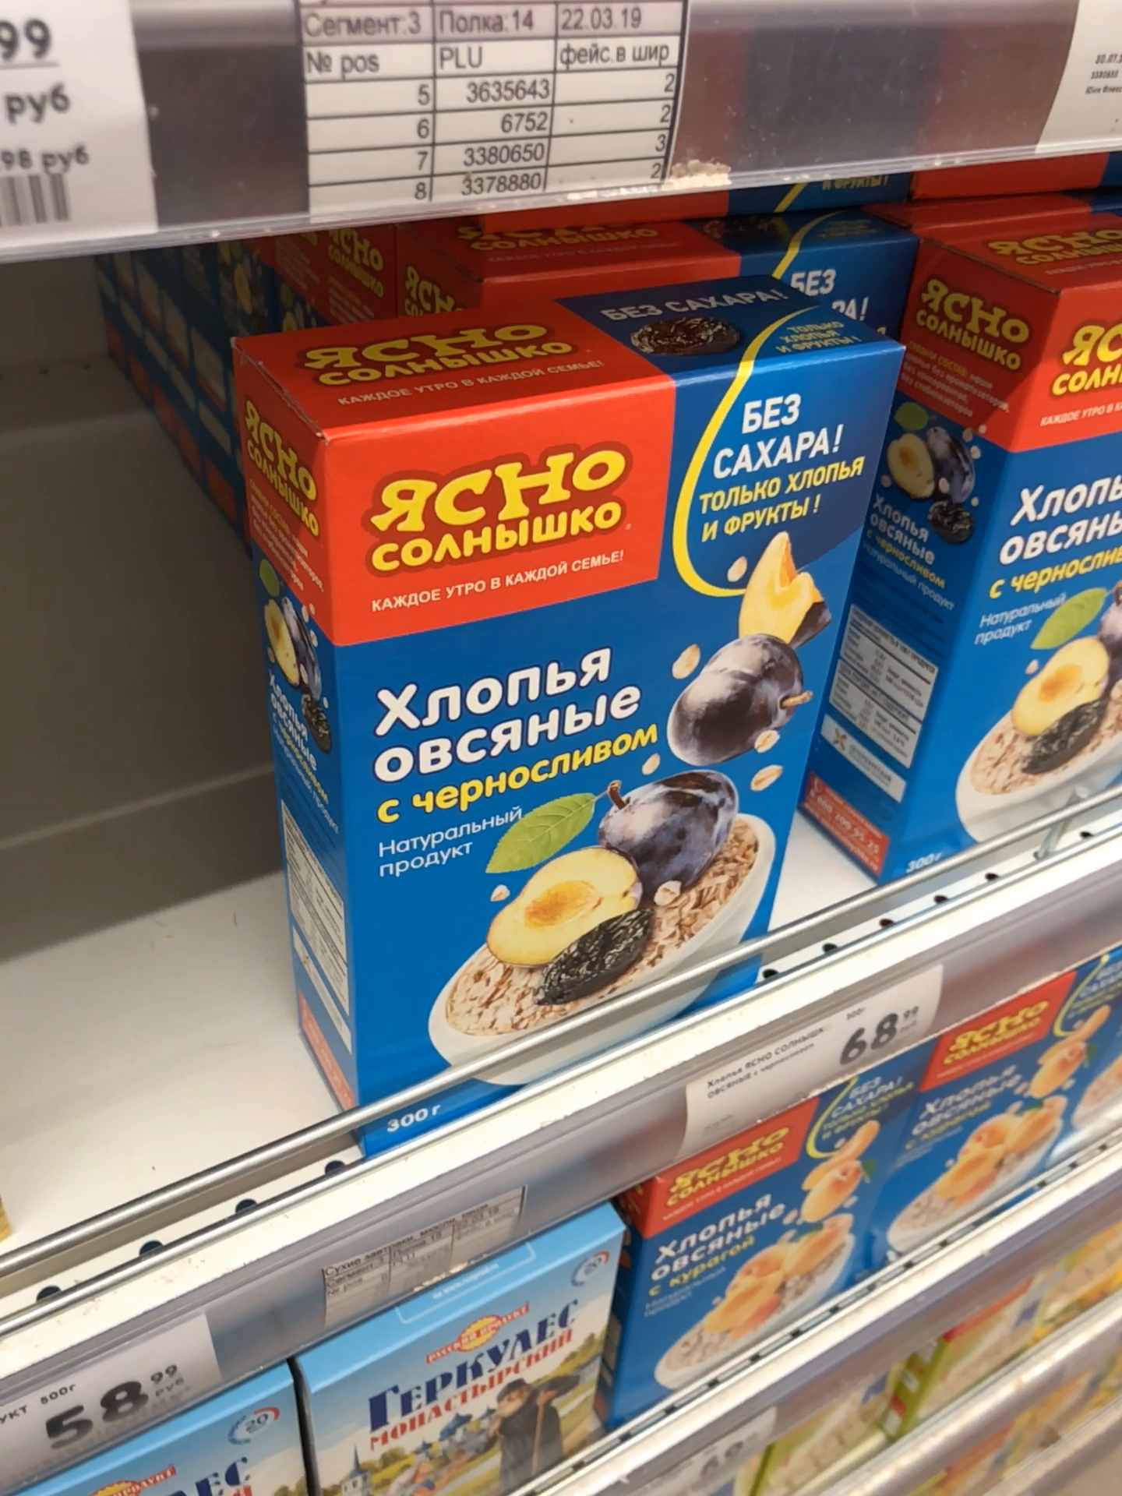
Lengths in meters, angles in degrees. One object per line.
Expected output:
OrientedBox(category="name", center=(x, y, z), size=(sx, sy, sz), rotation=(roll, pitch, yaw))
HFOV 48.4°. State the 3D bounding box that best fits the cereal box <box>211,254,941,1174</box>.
OrientedBox(category="cereal box", center=(0.001, -0.002, 0.313), size=(0.140, 0.209, 0.050), rotation=(-17, 42, -25))
